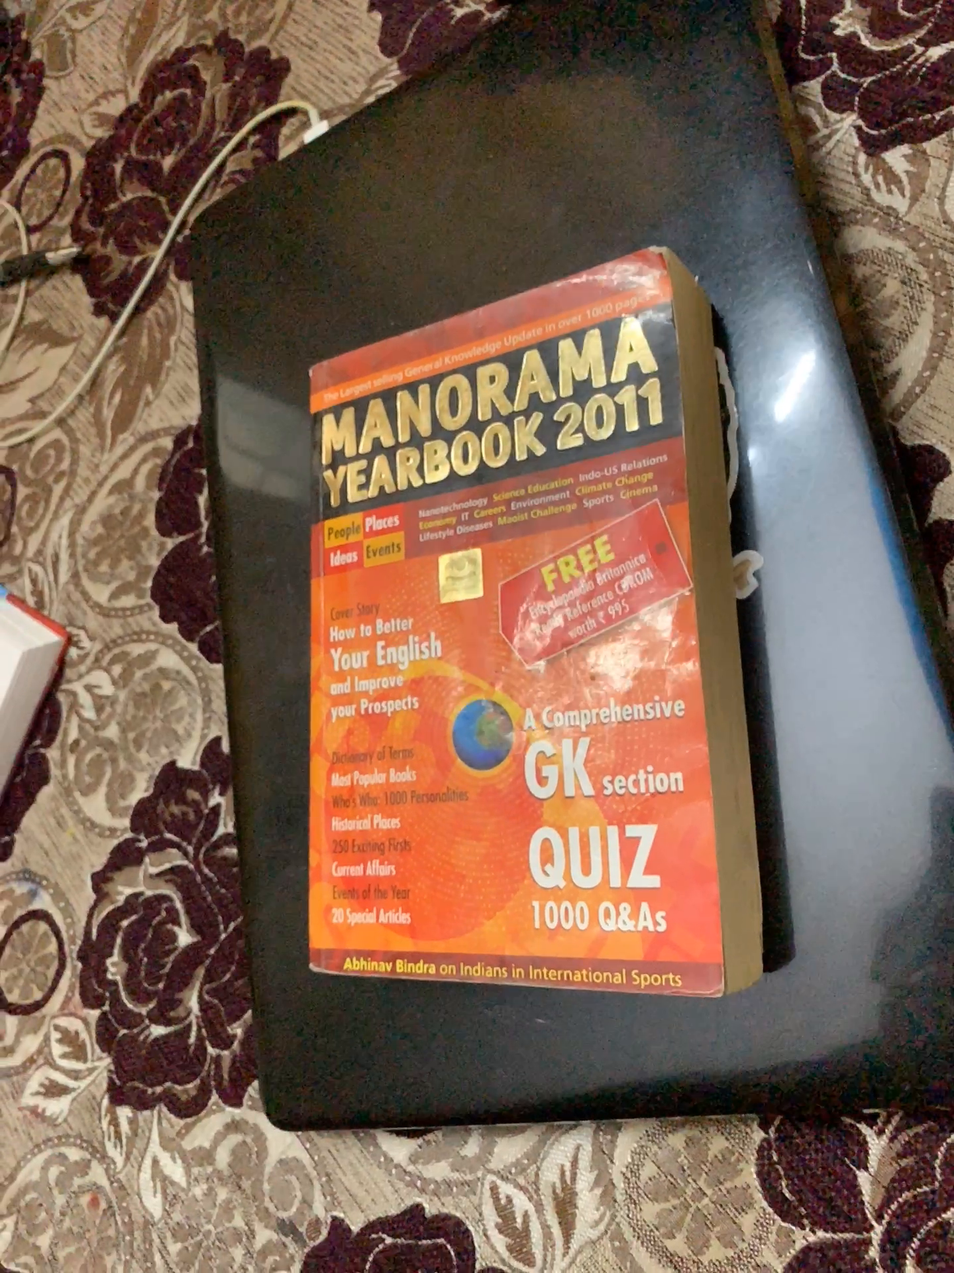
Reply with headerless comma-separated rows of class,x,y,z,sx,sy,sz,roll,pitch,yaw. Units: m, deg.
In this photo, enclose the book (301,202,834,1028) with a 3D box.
book,0.020,-0.002,0.300,0.140,0.050,0.210,-8,76,28
